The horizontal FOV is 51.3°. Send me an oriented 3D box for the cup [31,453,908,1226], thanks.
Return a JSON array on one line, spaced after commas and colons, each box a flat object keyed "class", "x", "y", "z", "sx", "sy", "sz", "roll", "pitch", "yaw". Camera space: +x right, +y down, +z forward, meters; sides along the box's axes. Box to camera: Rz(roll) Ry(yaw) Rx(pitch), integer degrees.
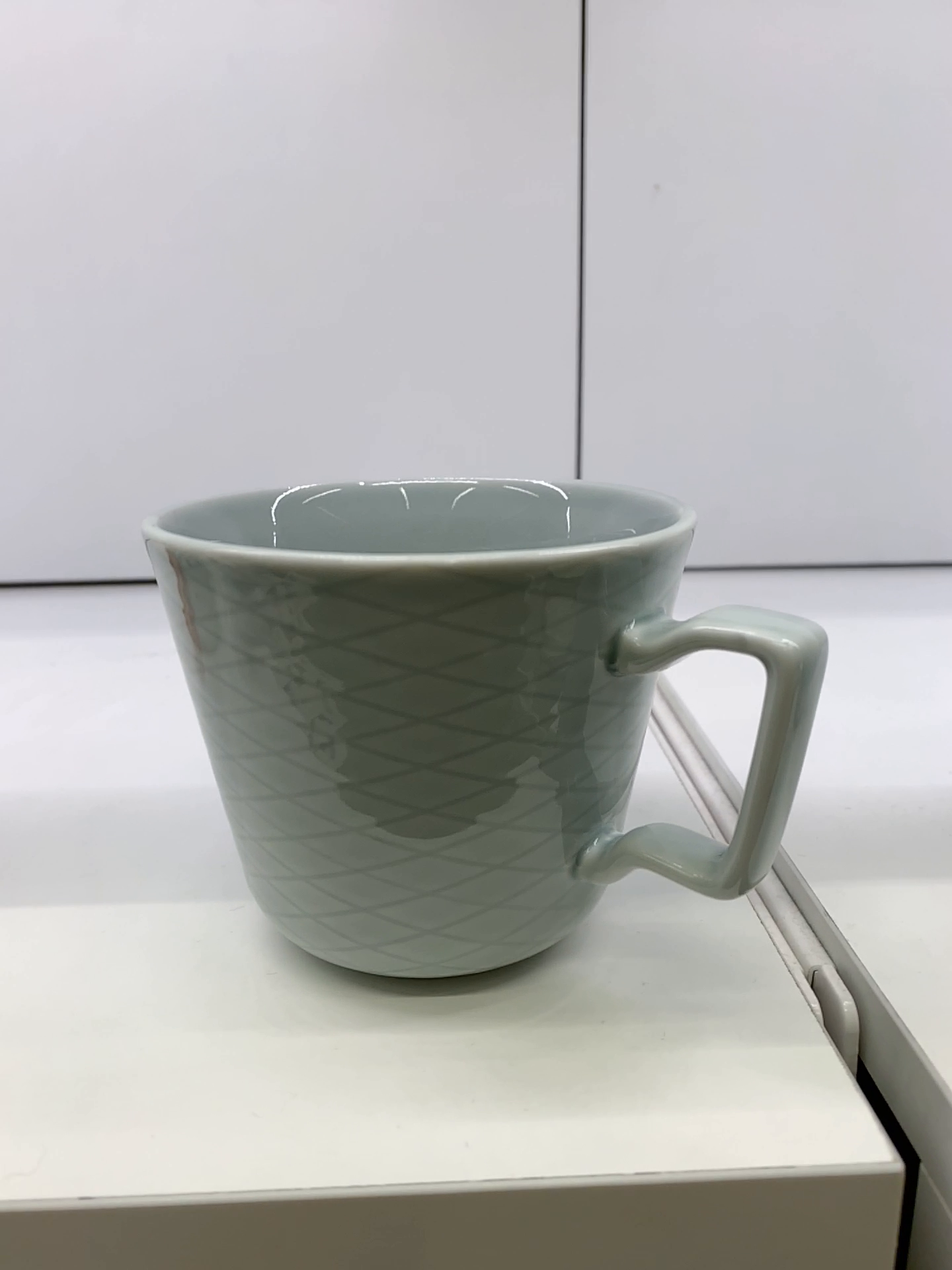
[{"class": "cup", "x": 0.004, "y": 0.014, "z": 0.196, "sx": 0.124, "sy": 0.089, "sz": 0.109, "roll": 8, "pitch": 17, "yaw": 33}]
